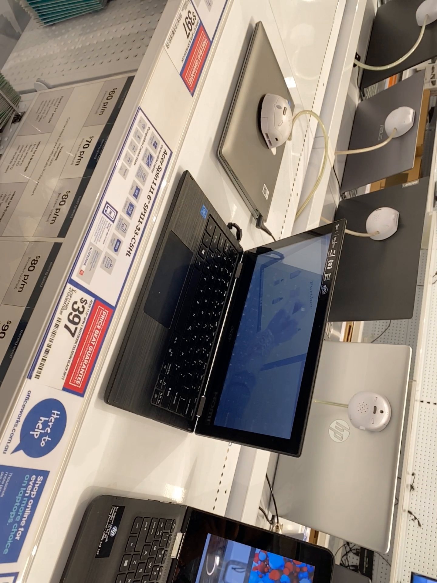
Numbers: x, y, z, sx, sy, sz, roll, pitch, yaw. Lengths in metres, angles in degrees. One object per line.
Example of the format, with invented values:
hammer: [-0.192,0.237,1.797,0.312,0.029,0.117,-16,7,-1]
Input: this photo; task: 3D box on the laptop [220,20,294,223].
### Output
laptop: [0.077,-0.283,0.763,0.196,0.001,0.284,45,53,-55]

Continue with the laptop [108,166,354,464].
laptop: [0.040,0.031,0.554,0.197,0.174,0.290,46,54,-55]

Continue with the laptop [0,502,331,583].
laptop: [-0.025,0.442,0.492,0.298,0.190,0.323,45,55,-55]
